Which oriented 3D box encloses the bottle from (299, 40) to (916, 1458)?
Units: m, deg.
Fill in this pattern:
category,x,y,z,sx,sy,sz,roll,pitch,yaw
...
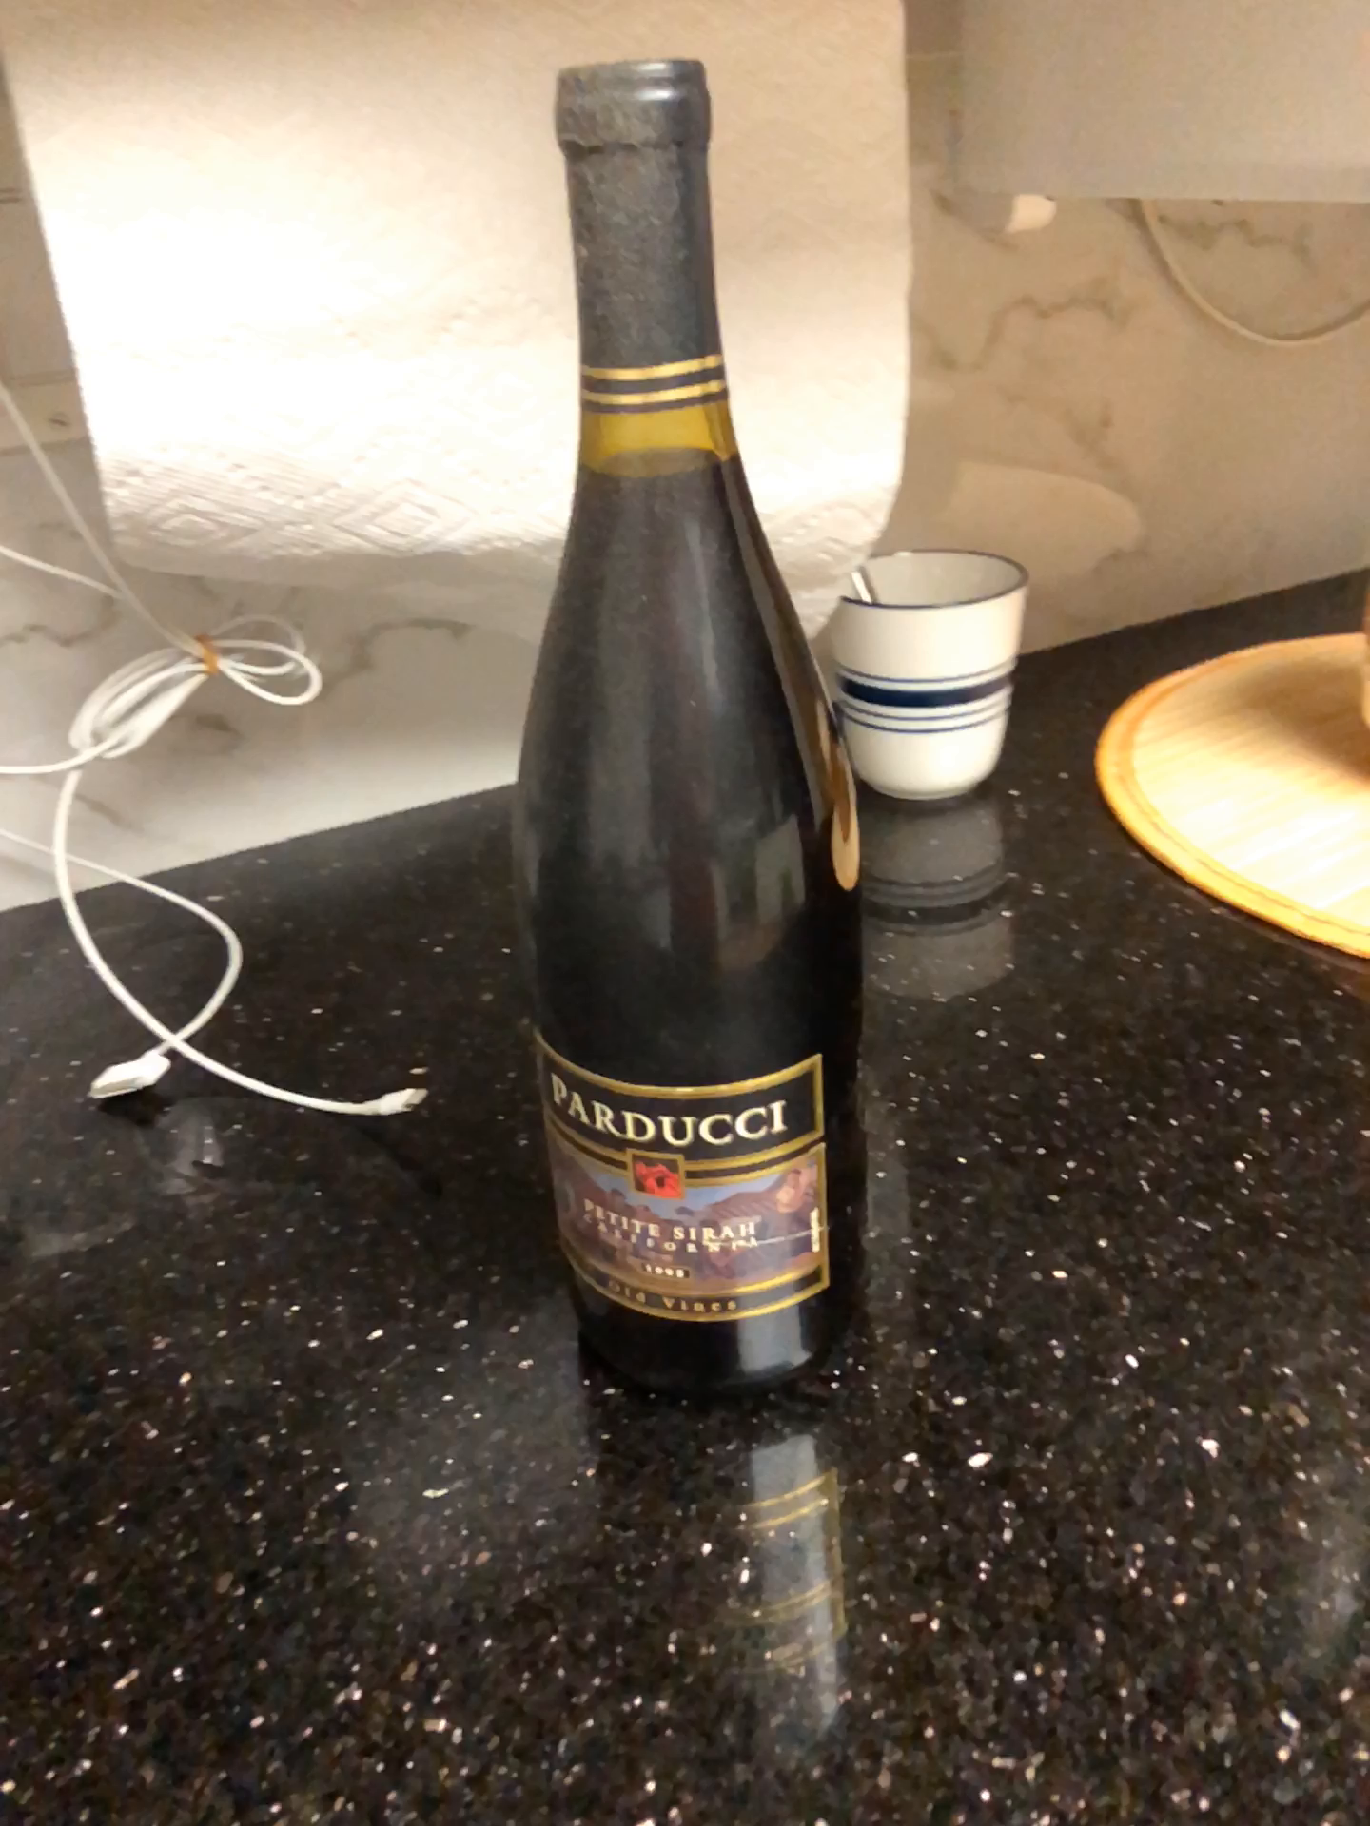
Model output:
category,x,y,z,sx,sy,sz,roll,pitch,yaw
bottle,0.001,-0.024,0.348,0.090,0.298,0.090,-4,27,2
